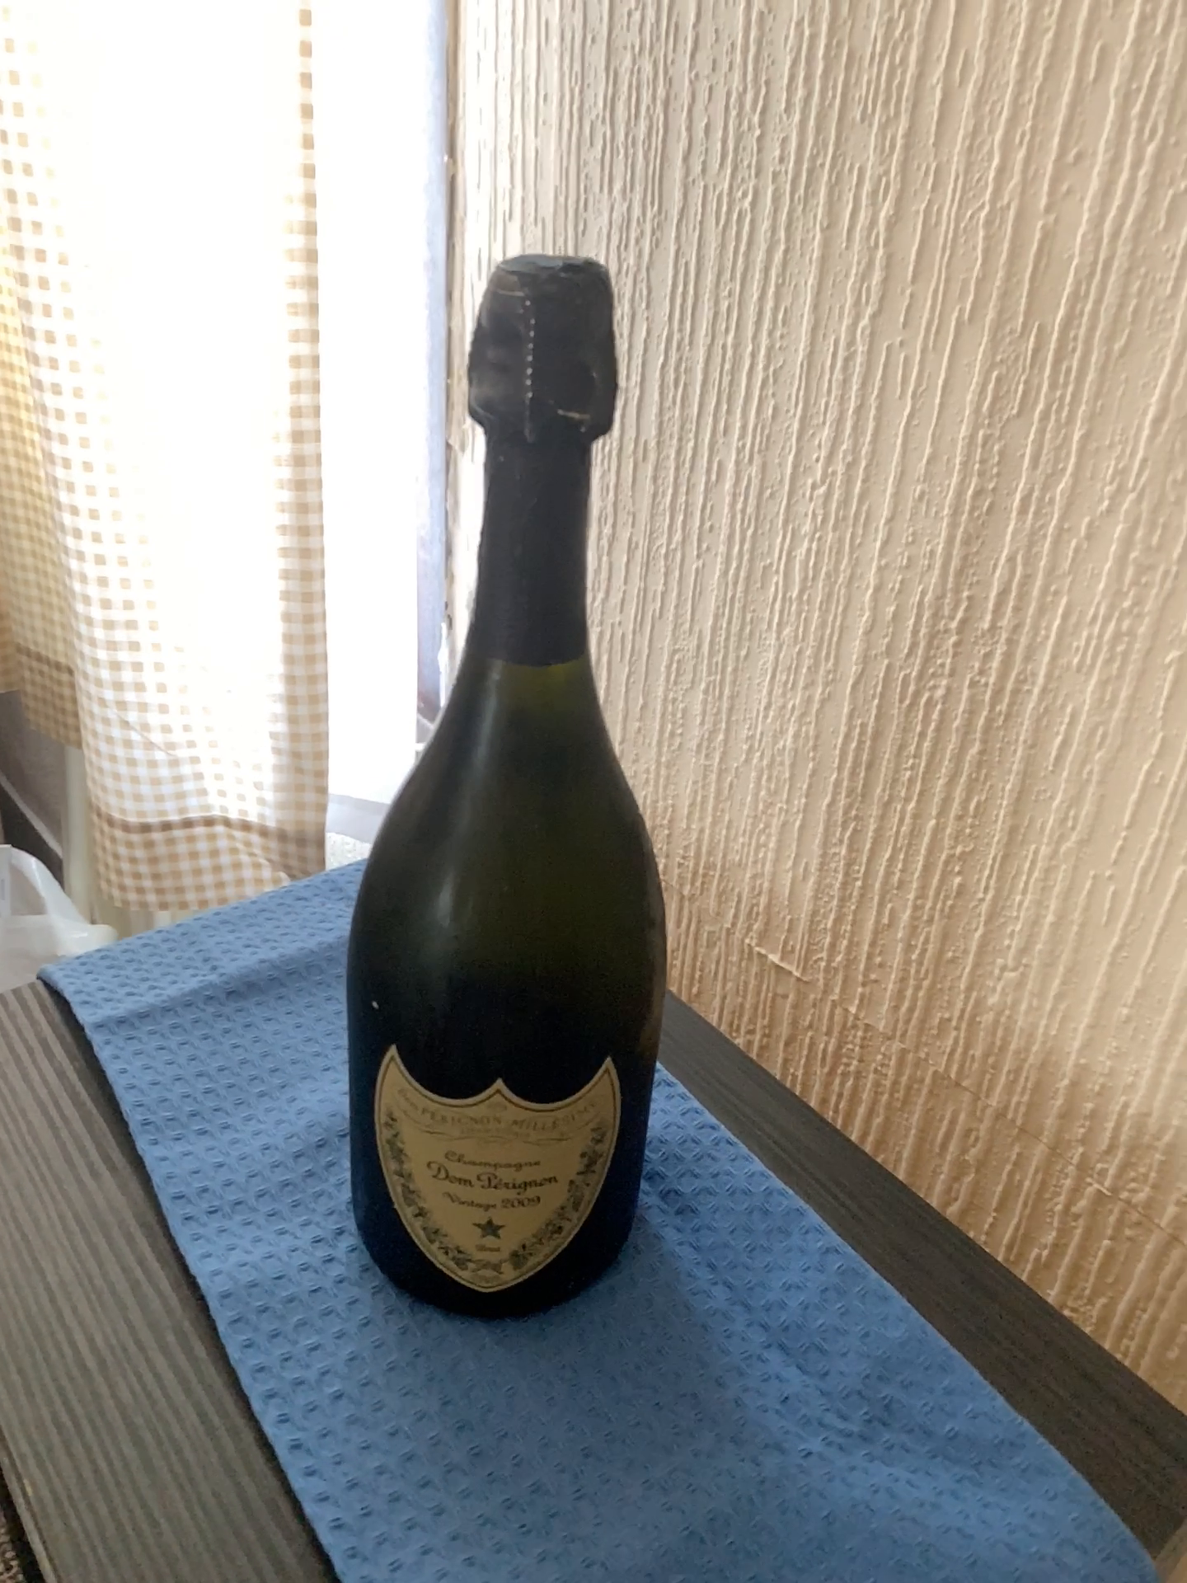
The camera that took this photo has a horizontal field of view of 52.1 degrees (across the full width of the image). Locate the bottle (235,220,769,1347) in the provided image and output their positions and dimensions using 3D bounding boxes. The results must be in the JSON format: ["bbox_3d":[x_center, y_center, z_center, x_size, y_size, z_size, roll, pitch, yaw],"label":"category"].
[{"bbox_3d":[-0.024,0.011,0.343,0.100,0.297,0.101,3,30,-2],"label":"bottle"}]
